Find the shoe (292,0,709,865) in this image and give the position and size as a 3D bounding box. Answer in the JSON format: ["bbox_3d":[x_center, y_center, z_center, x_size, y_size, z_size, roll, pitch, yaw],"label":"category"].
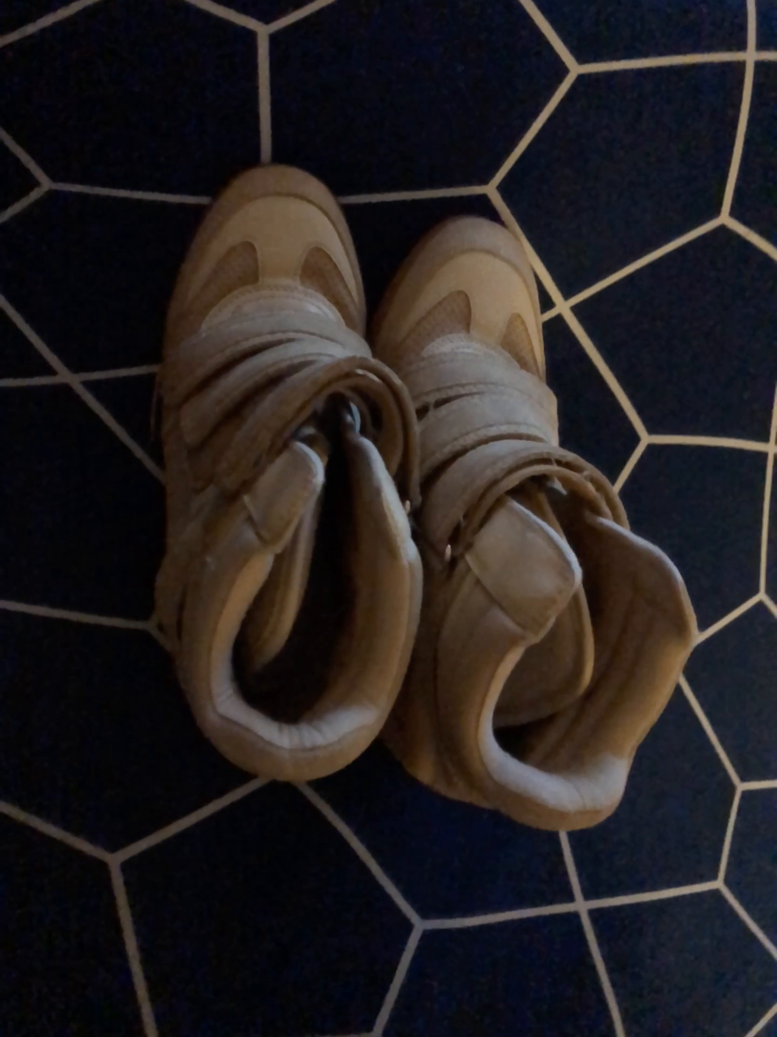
[{"bbox_3d":[0.041,-0.027,0.336,0.100,0.130,0.280,9,77,-18],"label":"shoe"}]

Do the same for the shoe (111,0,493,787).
[{"bbox_3d":[-0.038,-0.044,0.319,0.100,0.140,0.260,5,78,-19],"label":"shoe"}]
